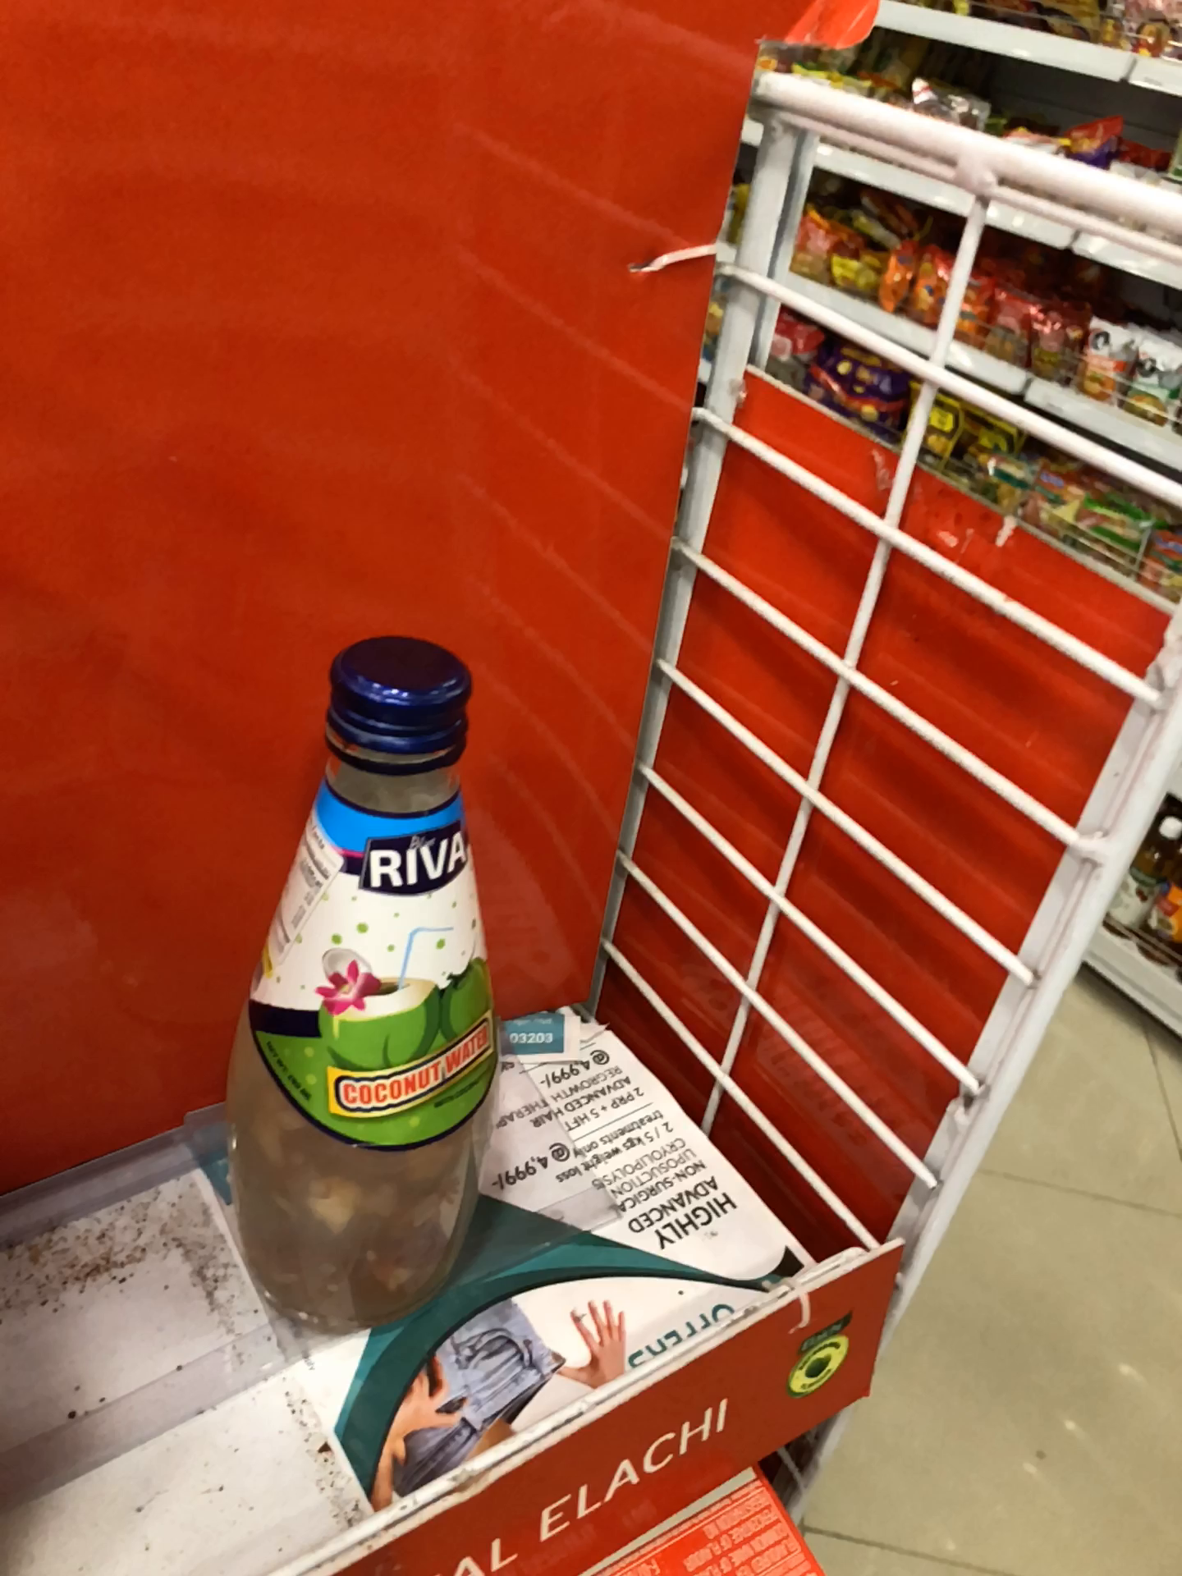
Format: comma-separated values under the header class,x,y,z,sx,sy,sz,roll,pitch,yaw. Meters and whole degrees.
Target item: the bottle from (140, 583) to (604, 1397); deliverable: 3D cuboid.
class,x,y,z,sx,sy,sz,roll,pitch,yaw
bottle,-0.056,0.051,0.306,0.070,0.179,0.060,-16,42,-33
